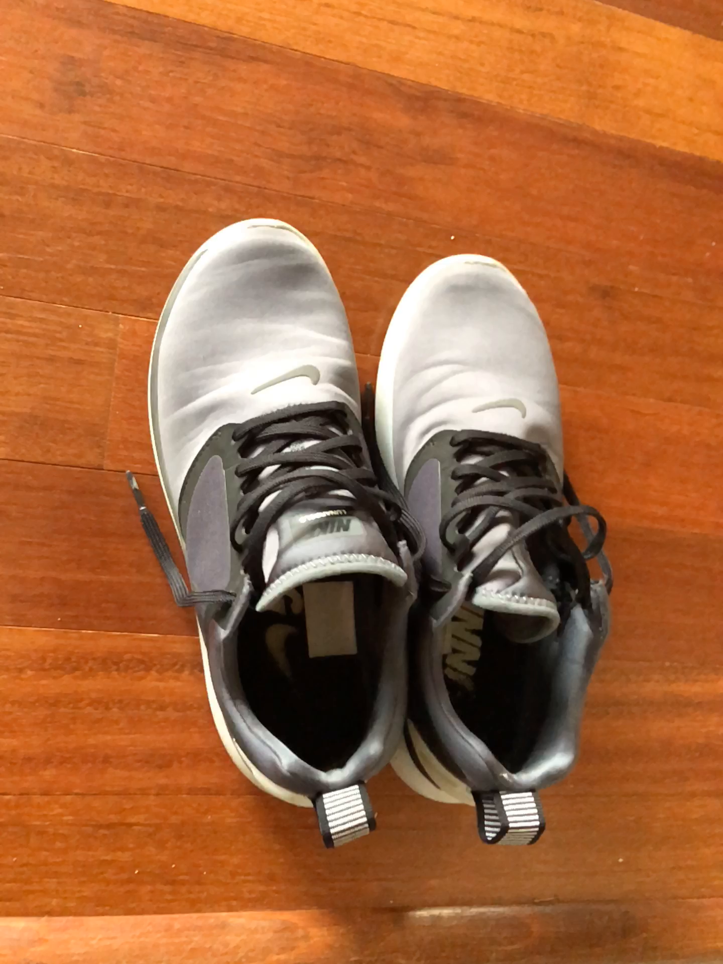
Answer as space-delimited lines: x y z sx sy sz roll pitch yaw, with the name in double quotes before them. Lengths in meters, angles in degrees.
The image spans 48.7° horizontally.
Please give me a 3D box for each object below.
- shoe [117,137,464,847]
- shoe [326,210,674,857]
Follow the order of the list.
"shoe" -0.035 0.001 0.332 0.110 0.100 0.240 -3 89 -15
"shoe" 0.056 0.022 0.359 0.110 0.100 0.240 4 87 -15
